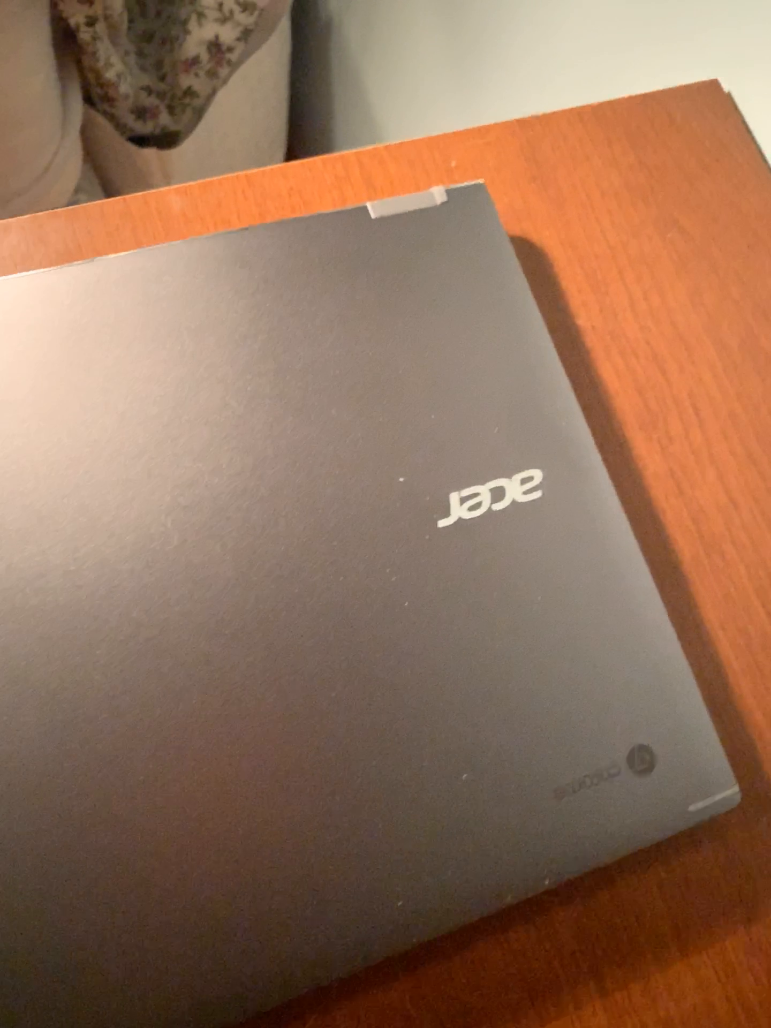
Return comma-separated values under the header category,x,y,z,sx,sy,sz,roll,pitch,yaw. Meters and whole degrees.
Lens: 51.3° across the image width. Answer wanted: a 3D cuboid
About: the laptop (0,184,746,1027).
category,x,y,z,sx,sy,sz,roll,pitch,yaw
laptop,-0.066,0.023,0.242,0.299,0.002,0.232,-16,77,-13
